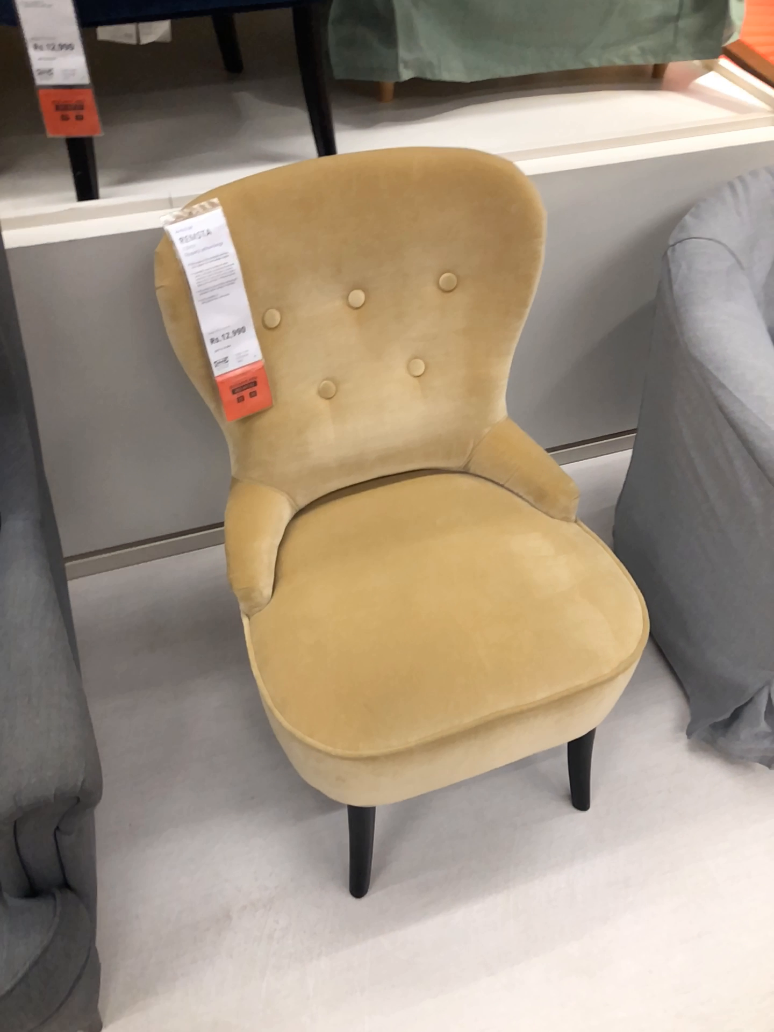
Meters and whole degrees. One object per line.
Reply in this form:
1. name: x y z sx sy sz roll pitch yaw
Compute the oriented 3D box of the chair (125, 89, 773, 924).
1. chair: 0.063 0.005 1.197 0.580 0.865 0.644 -15 49 -15
